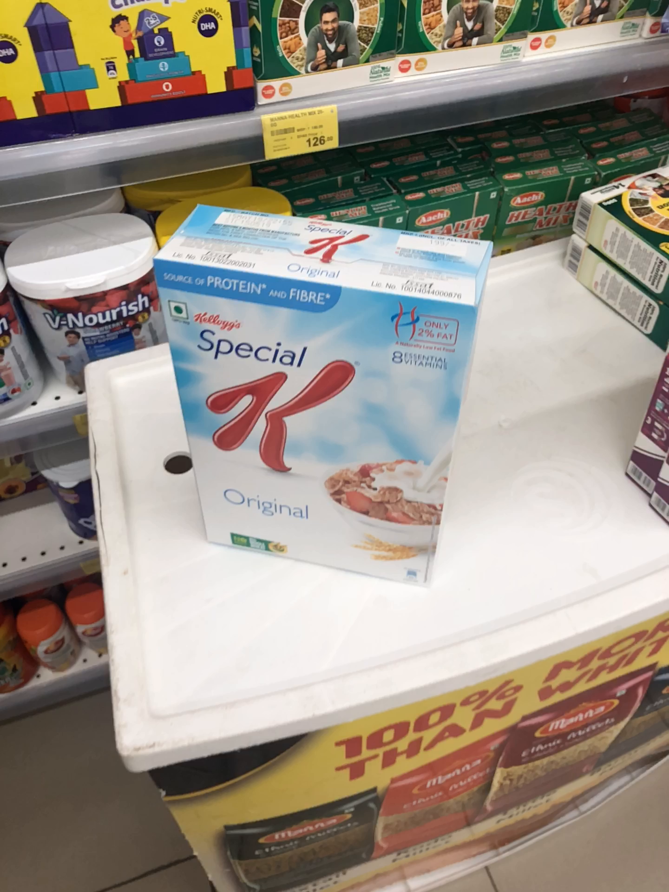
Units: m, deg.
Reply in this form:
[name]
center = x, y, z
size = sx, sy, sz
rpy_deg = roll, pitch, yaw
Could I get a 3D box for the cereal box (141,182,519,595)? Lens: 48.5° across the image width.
[cereal box]
center = -0.001, -0.023, 0.489
size = 0.190, 0.260, 0.070
rpy_deg = 10, 47, 9
